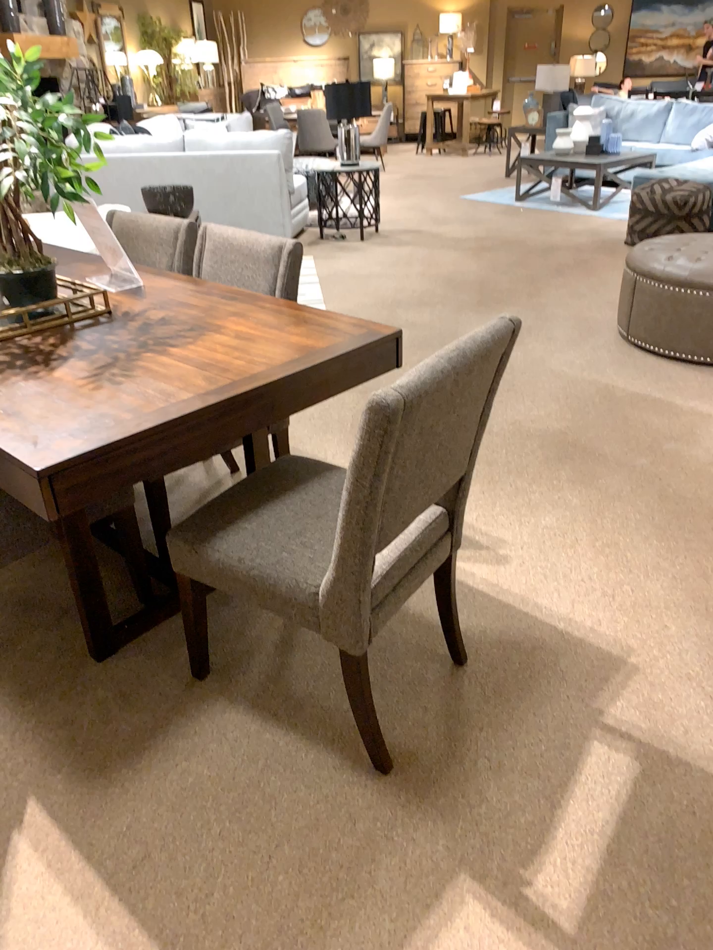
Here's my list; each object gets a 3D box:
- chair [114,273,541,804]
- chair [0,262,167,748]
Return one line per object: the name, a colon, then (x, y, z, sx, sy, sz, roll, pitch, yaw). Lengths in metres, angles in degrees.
chair: (-0.039, 0.090, 1.555, 0.632, 0.863, 0.481, 17, 34, 30)
chair: (-0.919, 0.025, 1.726, 0.480, 0.863, 0.632, 21, 36, 35)
